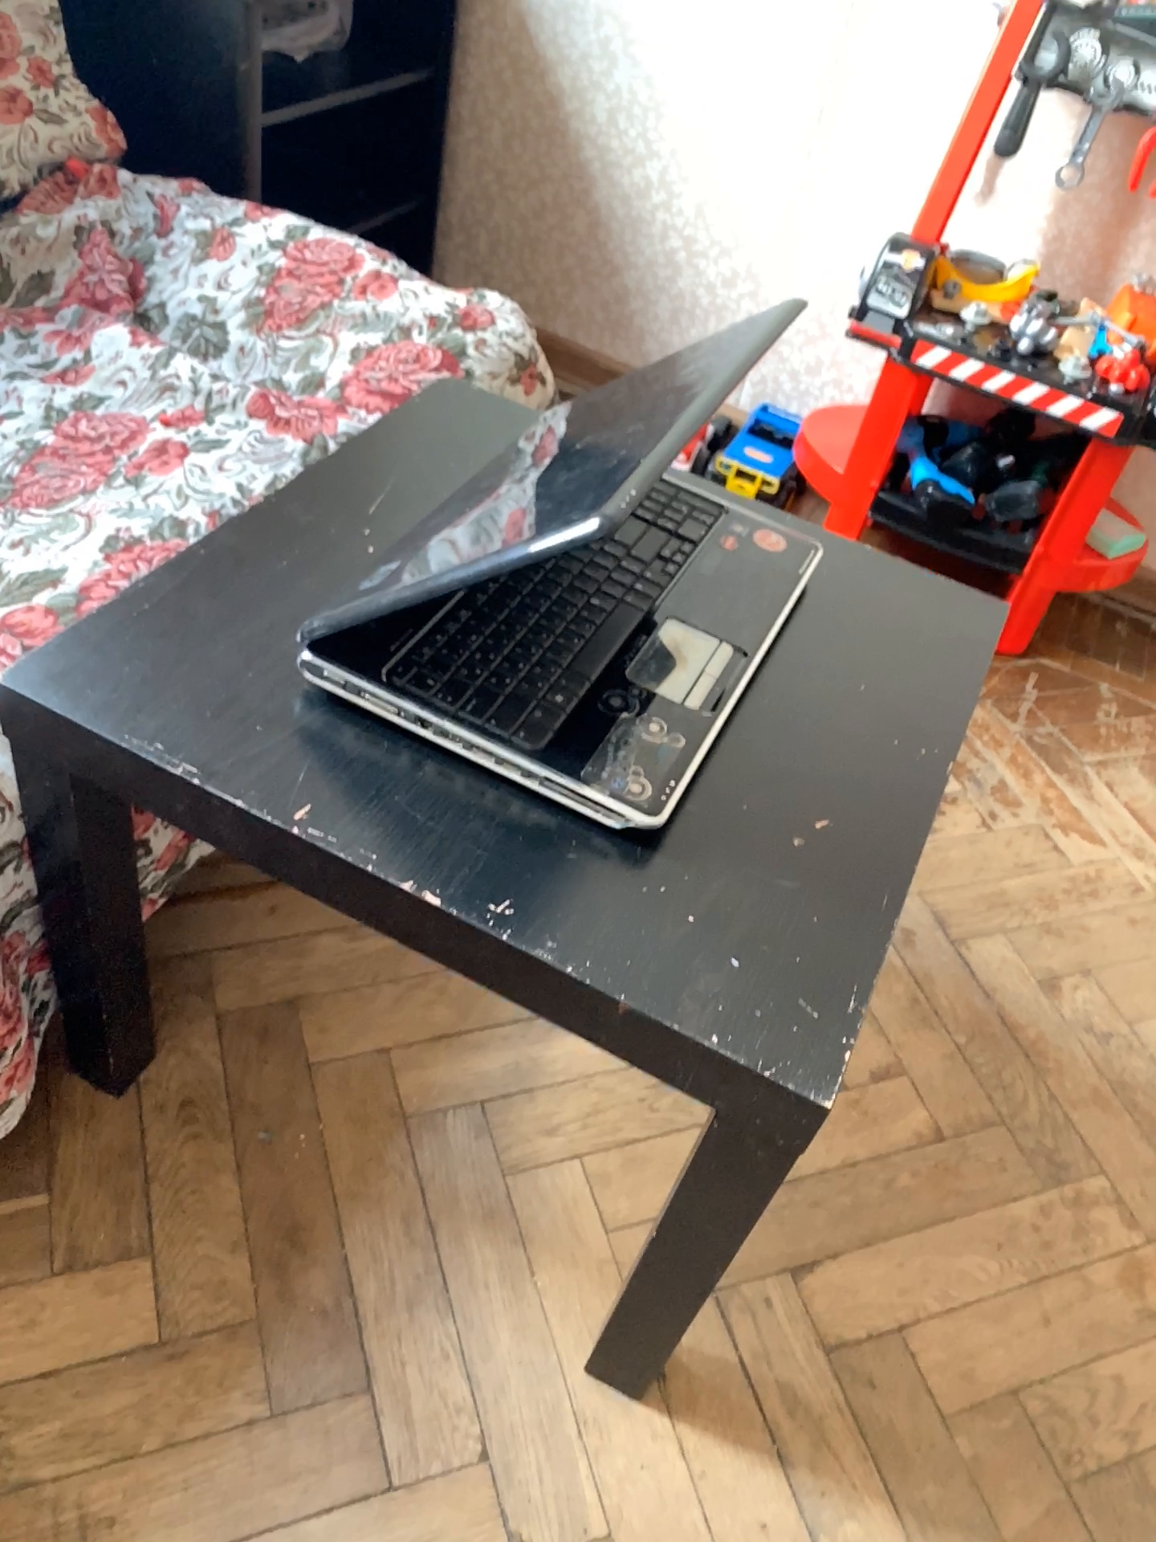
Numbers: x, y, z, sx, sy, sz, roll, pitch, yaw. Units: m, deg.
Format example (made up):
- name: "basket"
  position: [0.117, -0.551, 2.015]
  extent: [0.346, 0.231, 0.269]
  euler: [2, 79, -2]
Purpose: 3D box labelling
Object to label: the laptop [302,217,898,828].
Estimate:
- name: "laptop"
  position: [0.027, -0.190, 0.795]
  extent: [0.251, 0.176, 0.367]
  euler: [25, 44, 10]
